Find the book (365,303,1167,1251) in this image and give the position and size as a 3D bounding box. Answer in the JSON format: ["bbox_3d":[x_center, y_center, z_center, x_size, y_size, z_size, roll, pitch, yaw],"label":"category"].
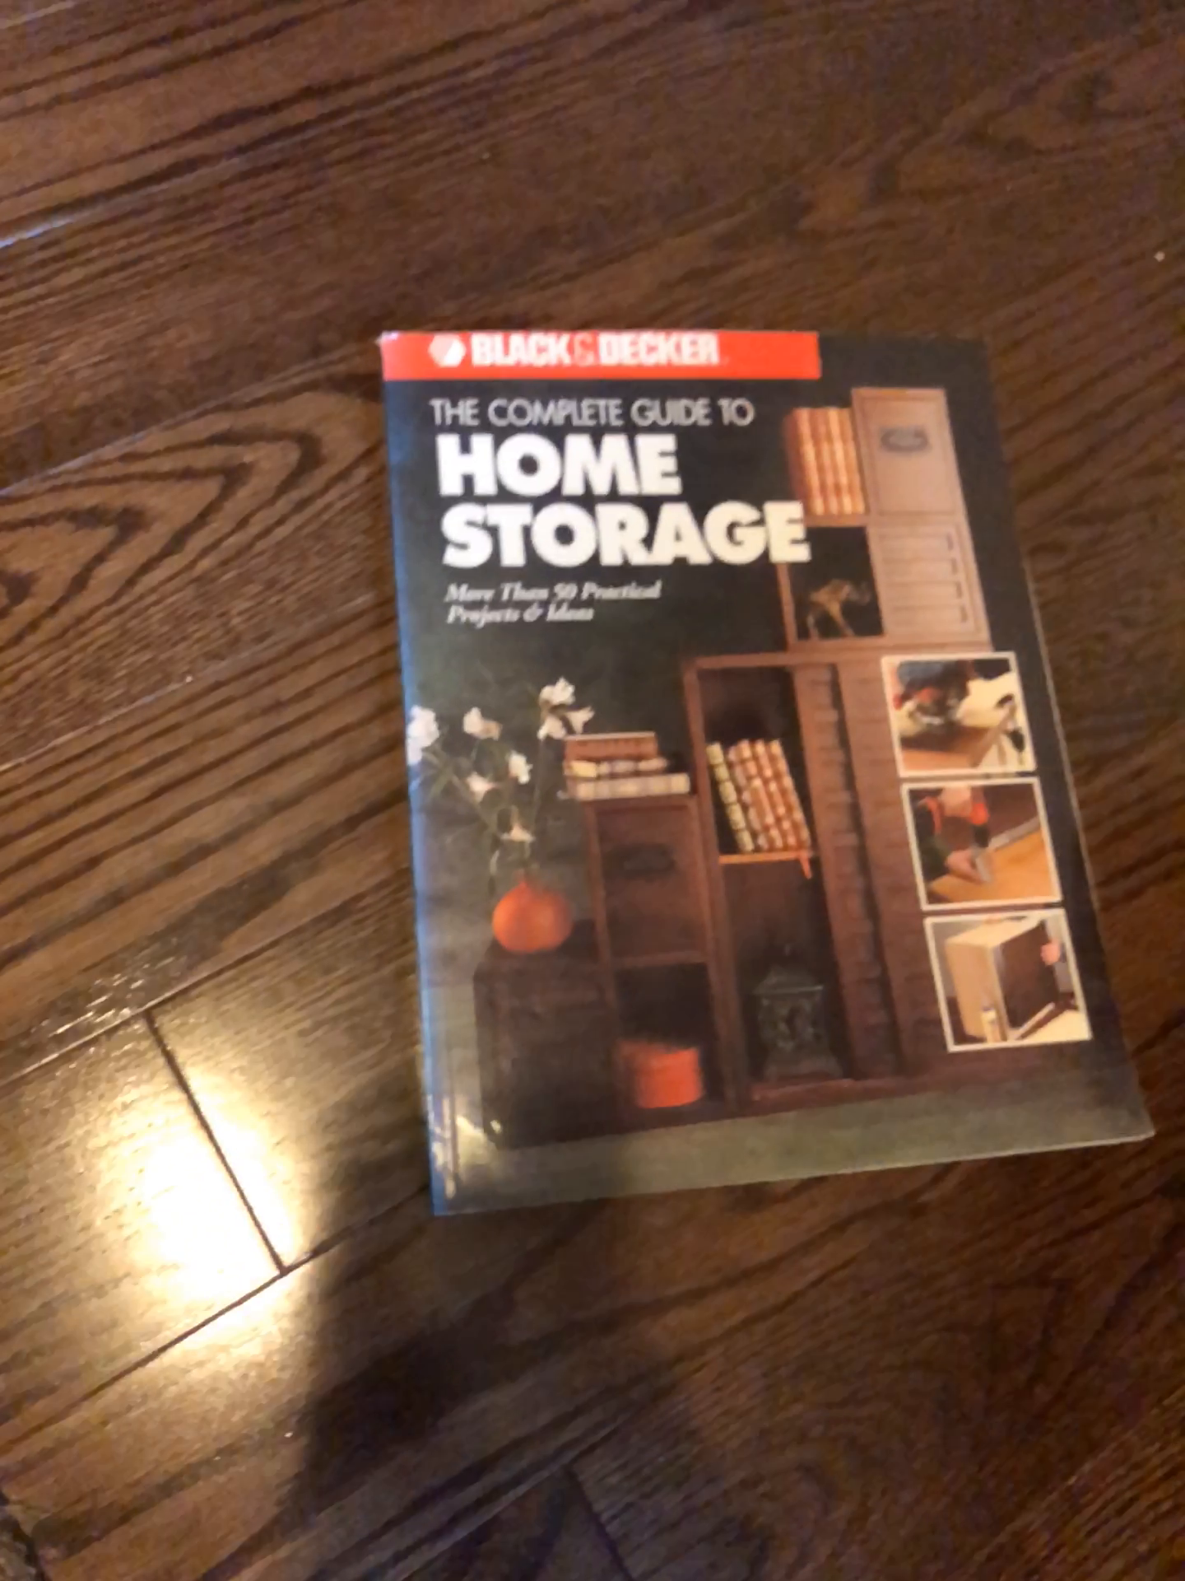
[{"bbox_3d":[0.045,-0.020,0.412,0.215,0.020,0.287,-3,74,-10],"label":"book"}]
